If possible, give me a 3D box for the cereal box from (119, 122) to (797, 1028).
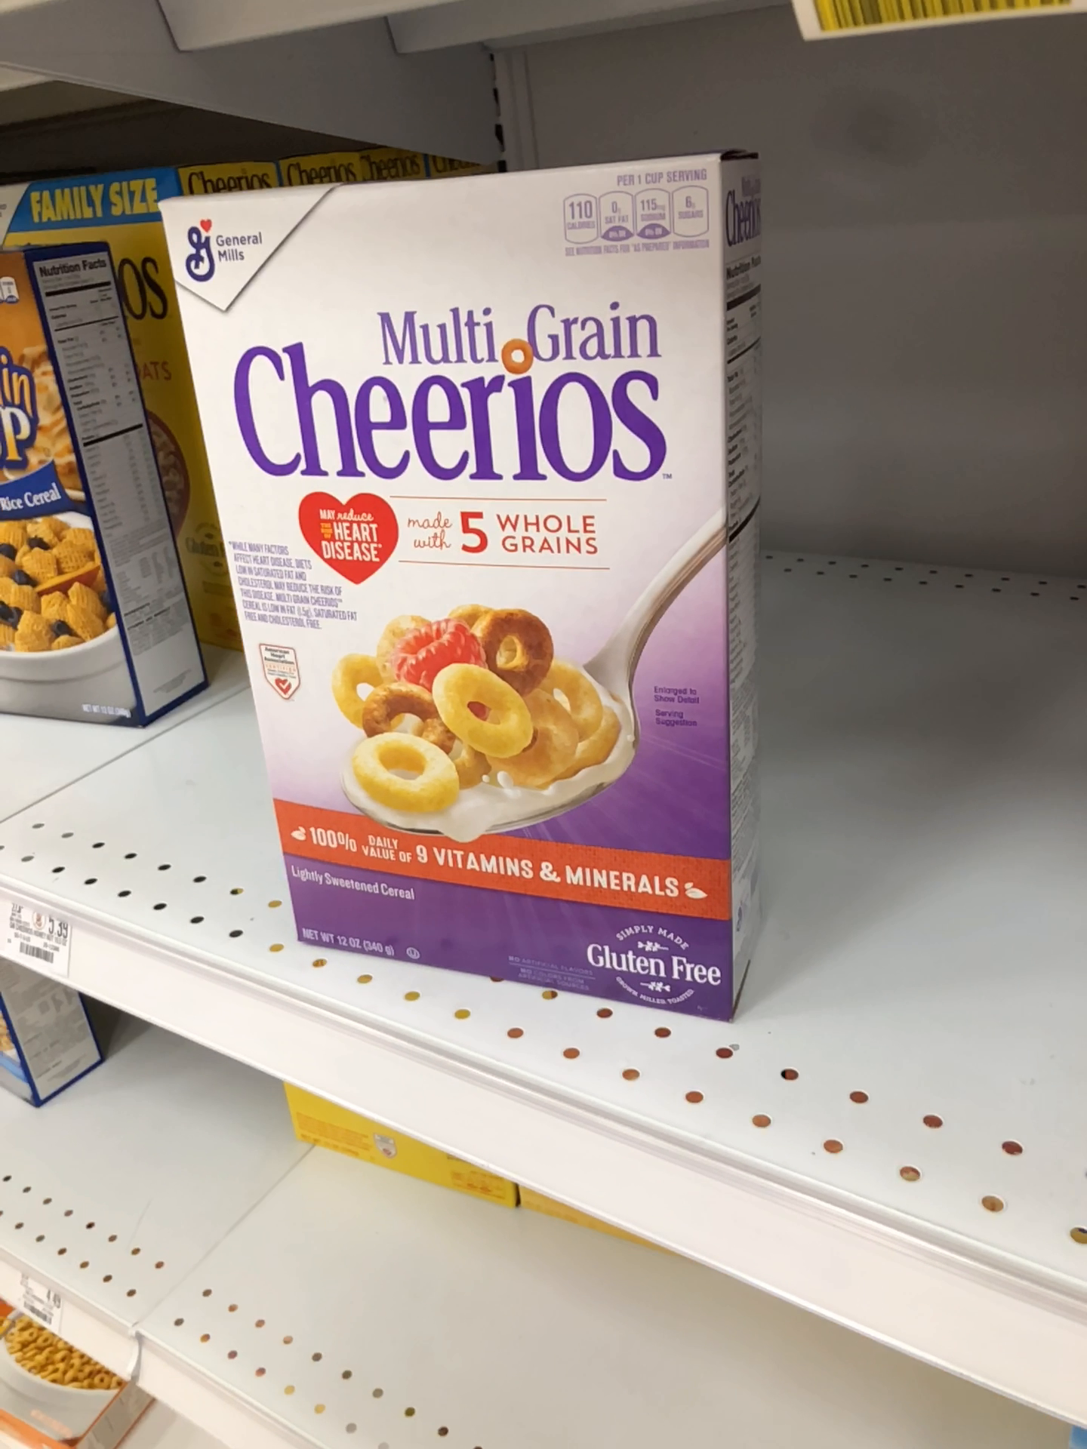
[{"bbox_3d":[-0.018,-0.048,0.450,0.210,0.299,0.070,5,26,22],"label":"cereal box"}]
